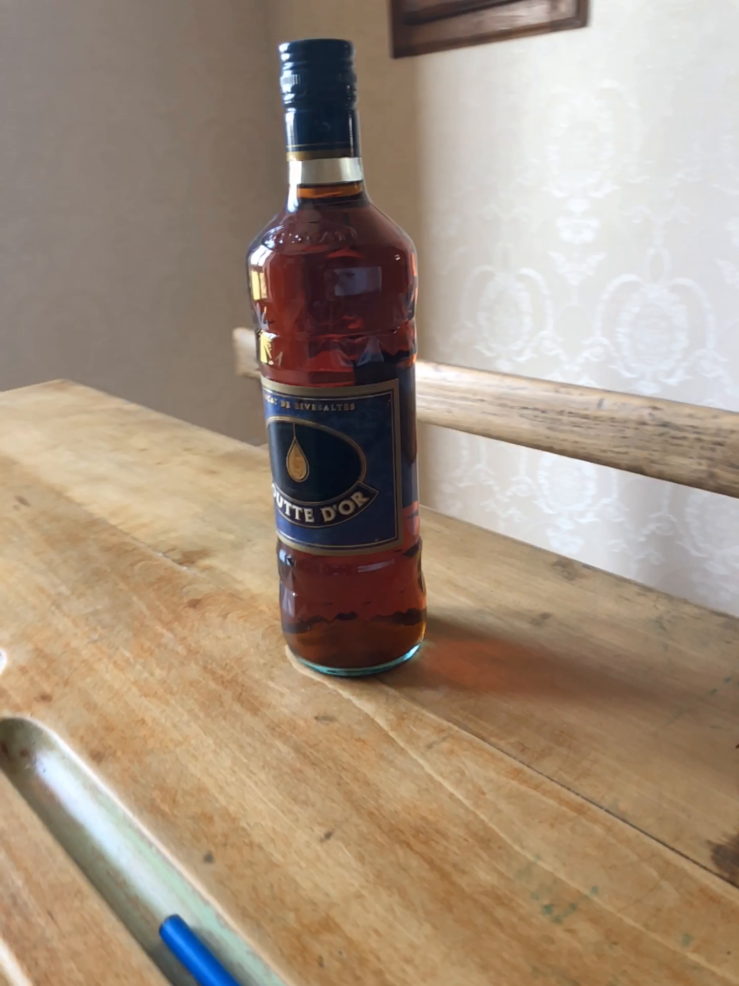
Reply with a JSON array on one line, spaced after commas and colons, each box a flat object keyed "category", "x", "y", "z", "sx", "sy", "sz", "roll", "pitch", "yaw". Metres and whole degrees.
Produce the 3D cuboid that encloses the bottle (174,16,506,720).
[{"category": "bottle", "x": -0.004, "y": -0.052, "z": 0.380, "sx": 0.100, "sy": 0.279, "sz": 0.090, "roll": -22, "pitch": 28, "yaw": -39}]
